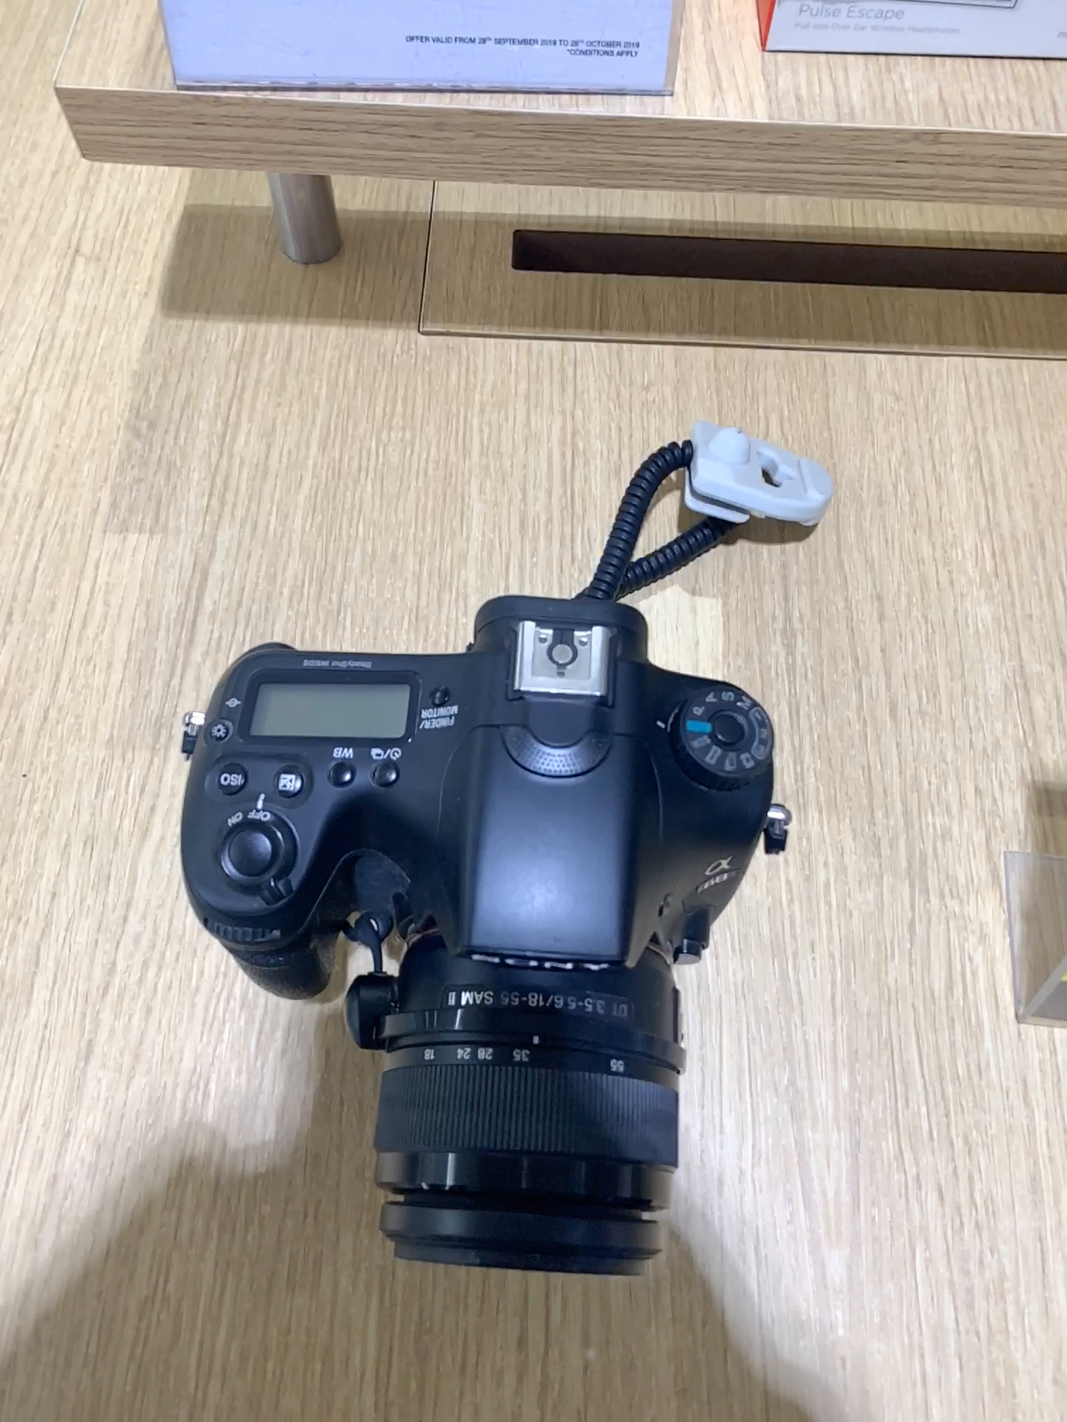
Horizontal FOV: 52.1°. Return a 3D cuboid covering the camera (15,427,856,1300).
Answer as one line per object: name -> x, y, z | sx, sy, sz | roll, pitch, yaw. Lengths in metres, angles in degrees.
camera -> -0.011, 0.034, 0.258 | 0.140, 0.090, 0.170 | 4, 65, 1
